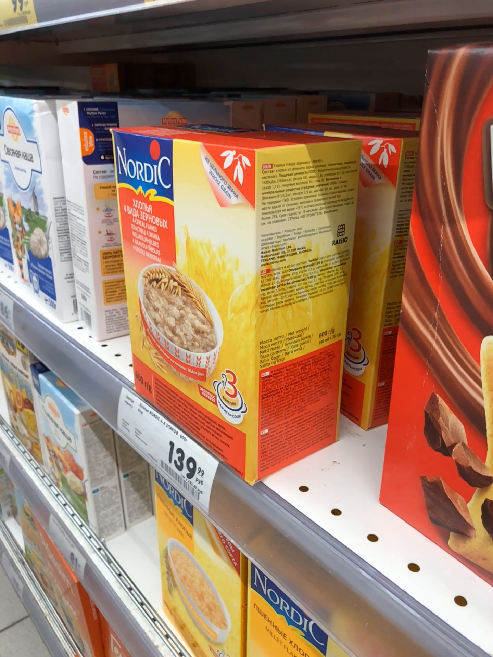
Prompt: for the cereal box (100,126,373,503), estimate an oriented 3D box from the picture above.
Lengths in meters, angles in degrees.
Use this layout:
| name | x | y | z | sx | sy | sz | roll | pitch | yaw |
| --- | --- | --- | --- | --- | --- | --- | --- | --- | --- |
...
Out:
| name | x | y | z | sx | sy | sz | roll | pitch | yaw |
| --- | --- | --- | --- | --- | --- | --- | --- | --- | --- |
| cereal box | -0.013 | -0.023 | 0.347 | 0.080 | 0.189 | 0.150 | -17 | 29 | -35 |
